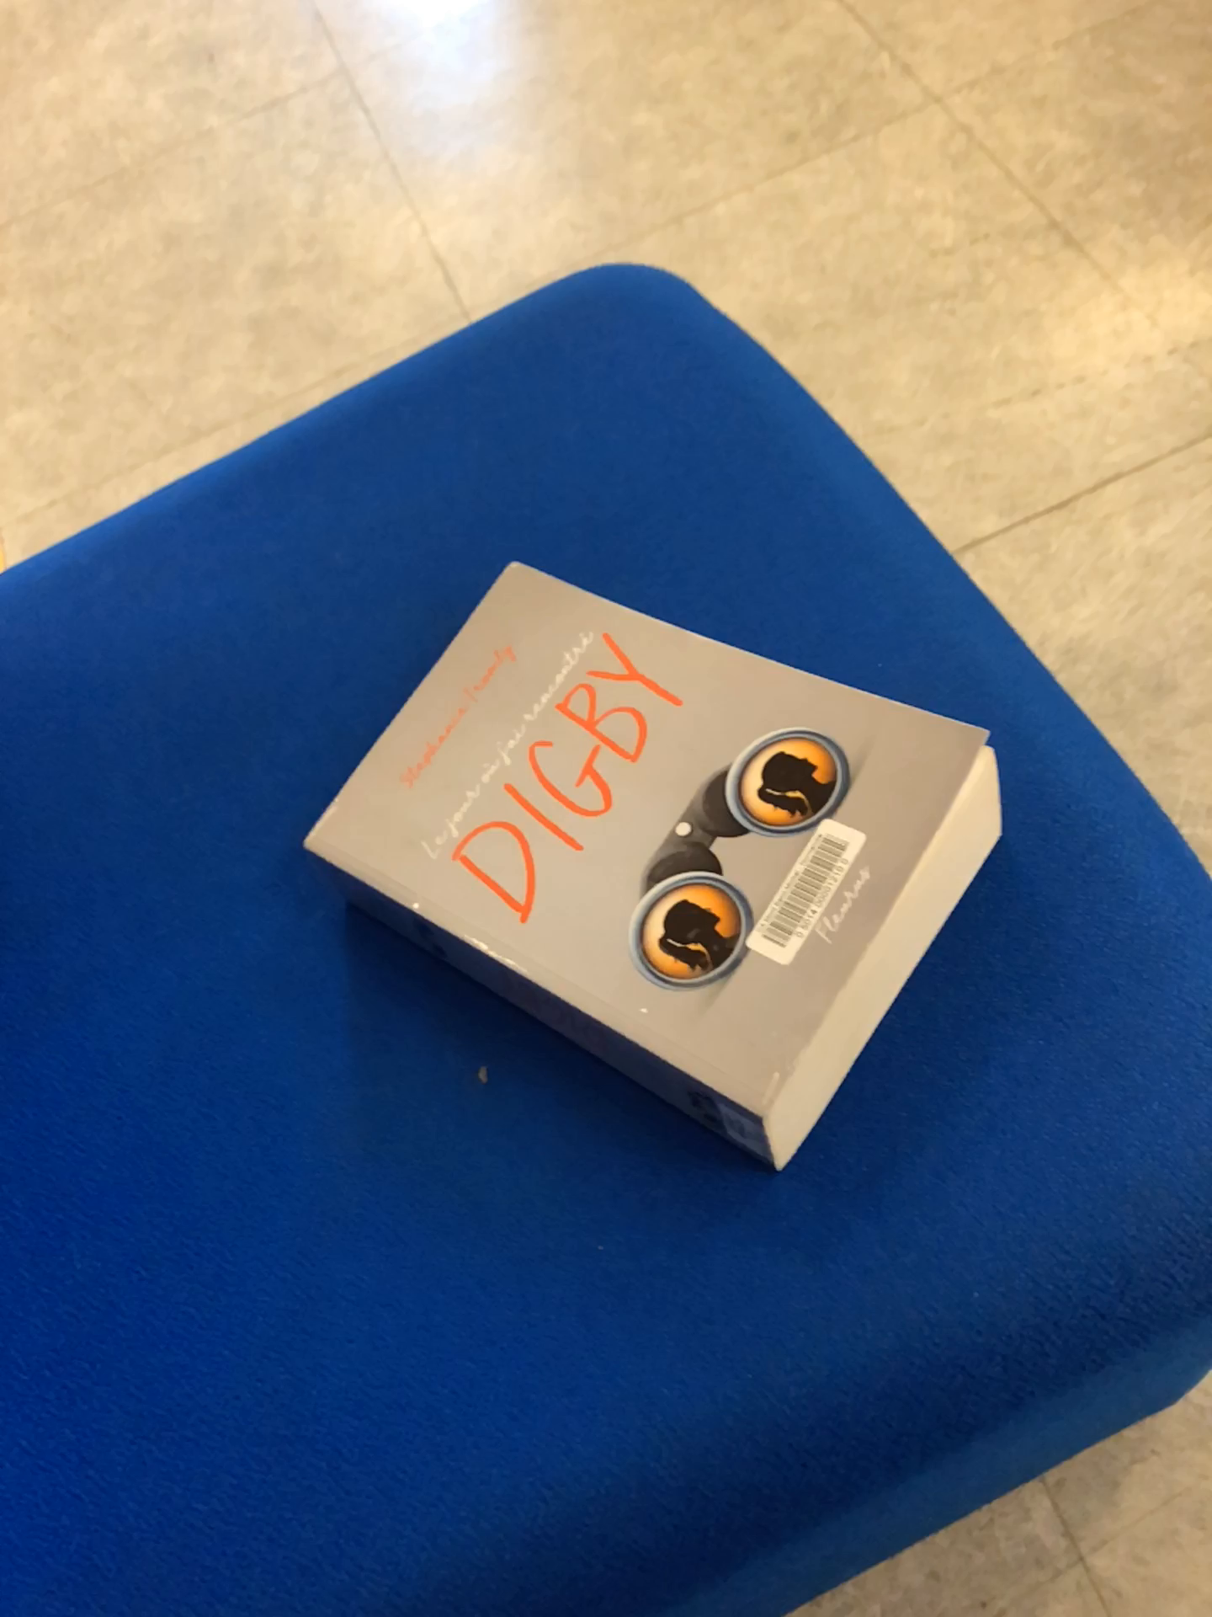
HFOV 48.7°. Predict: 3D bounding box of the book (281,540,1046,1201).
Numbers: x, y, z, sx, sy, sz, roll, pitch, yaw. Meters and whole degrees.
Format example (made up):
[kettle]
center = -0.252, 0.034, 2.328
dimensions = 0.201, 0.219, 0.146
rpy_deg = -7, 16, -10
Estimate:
[book]
center = 0.016, 0.007, 0.463
dimensions = 0.211, 0.056, 0.151
rpy_deg = 26, 71, 33
